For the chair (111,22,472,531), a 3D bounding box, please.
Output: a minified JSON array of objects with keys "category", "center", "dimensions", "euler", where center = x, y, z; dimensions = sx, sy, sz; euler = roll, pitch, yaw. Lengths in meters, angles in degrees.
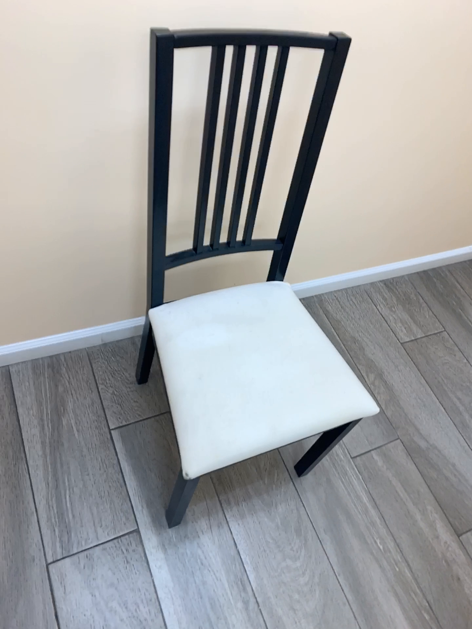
[{"category":"chair","center":[0.021,0.020,1.011],"dimensions":[0.439,0.963,0.499],"euler":[-13,59,-23]}]
